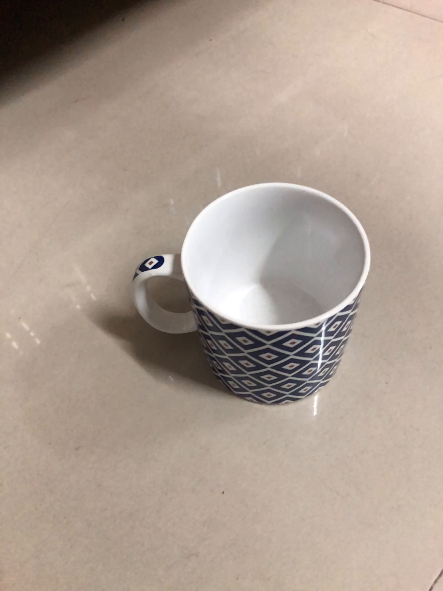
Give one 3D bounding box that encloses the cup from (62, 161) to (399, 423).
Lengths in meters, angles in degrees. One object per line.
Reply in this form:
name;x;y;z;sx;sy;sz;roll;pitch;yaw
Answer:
cup;0.007;0.000;0.217;0.110;0.080;0.080;1;55;6
